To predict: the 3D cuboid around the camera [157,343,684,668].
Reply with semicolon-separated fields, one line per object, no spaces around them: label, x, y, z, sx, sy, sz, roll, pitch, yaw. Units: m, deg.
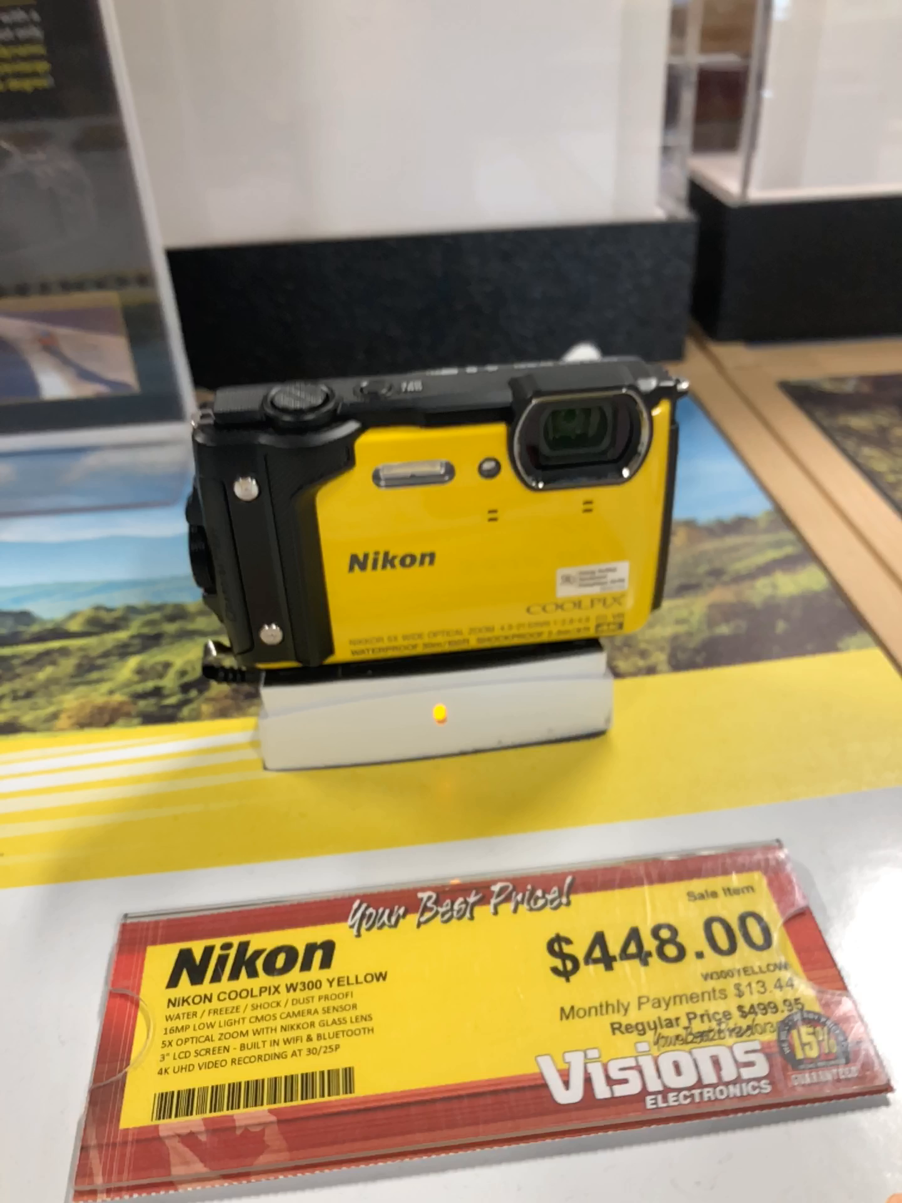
camera;-0.006;-0.023;0.239;0.110;0.060;0.030;-6;34;-4
